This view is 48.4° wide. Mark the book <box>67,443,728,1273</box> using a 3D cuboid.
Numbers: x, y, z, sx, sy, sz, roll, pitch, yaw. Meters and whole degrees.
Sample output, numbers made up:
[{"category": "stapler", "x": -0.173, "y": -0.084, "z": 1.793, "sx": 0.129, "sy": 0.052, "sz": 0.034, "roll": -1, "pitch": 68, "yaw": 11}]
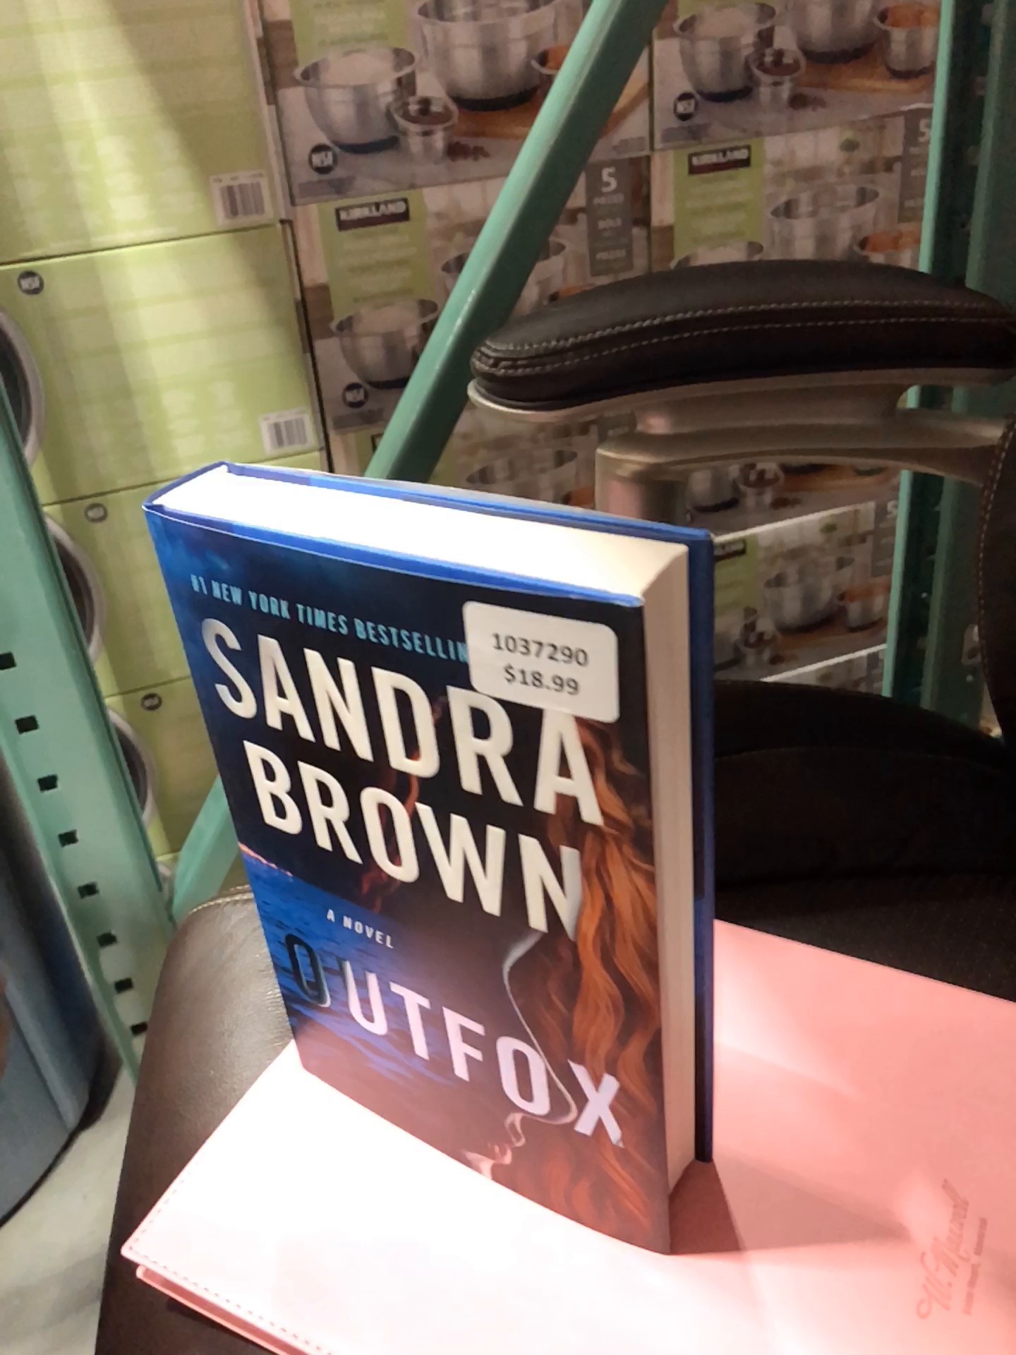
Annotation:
[{"category": "book", "x": -0.023, "y": 0.055, "z": 0.339, "sx": 0.168, "sy": 0.227, "sz": 0.048, "roll": 14, "pitch": 38, "yaw": 30}]
